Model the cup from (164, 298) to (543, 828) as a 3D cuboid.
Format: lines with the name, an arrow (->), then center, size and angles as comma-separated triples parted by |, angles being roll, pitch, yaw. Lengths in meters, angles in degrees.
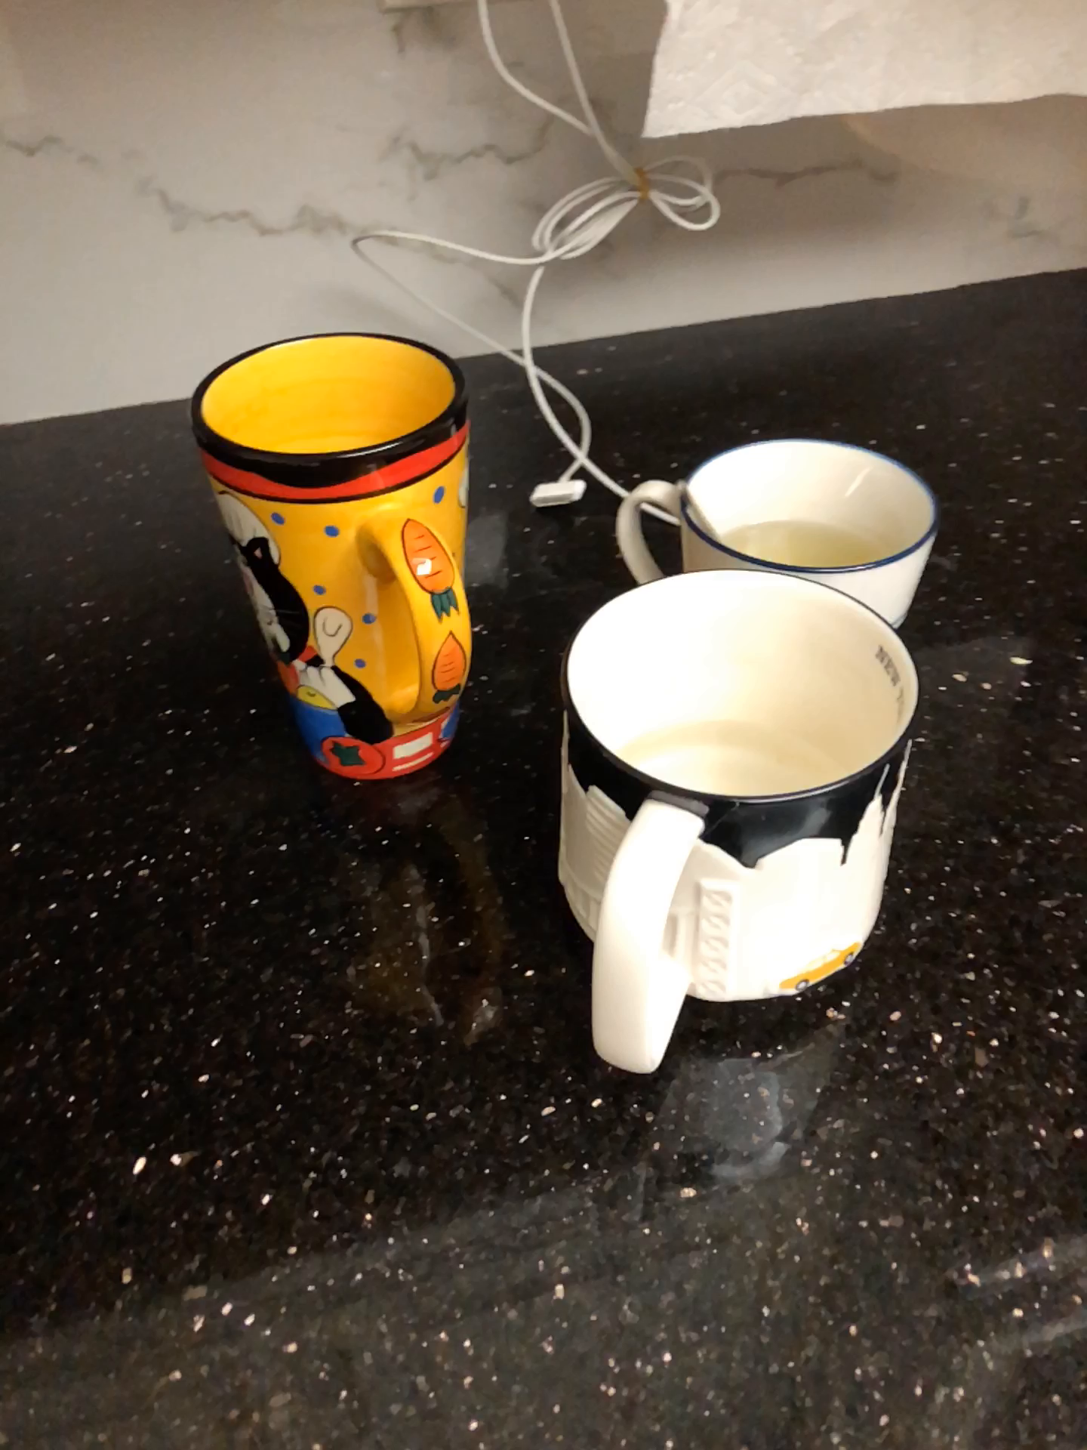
cup -> -0.061, -0.056, 0.408 | 0.080, 0.129, 0.100 | -21, 45, -20

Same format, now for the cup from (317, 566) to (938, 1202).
cup -> 0.031, 0.035, 0.361 | 0.120, 0.070, 0.151 | 20, 46, 23

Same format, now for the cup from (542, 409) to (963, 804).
cup -> 0.072, -0.048, 0.441 | 0.120, 0.080, 0.080 | 27, 49, 28
